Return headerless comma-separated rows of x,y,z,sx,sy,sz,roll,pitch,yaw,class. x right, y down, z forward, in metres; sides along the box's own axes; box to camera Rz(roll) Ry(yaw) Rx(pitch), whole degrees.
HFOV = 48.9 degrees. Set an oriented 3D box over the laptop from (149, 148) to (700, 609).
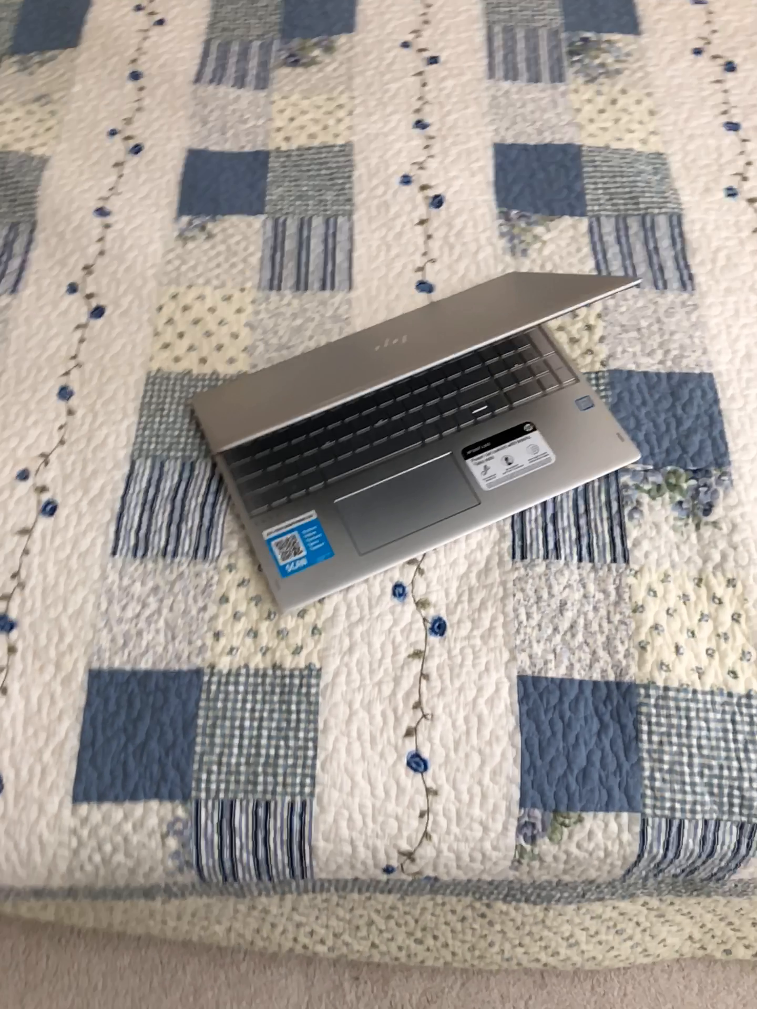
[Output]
0.029,-0.111,0.708,0.348,0.158,0.242,-23,63,-9,laptop
